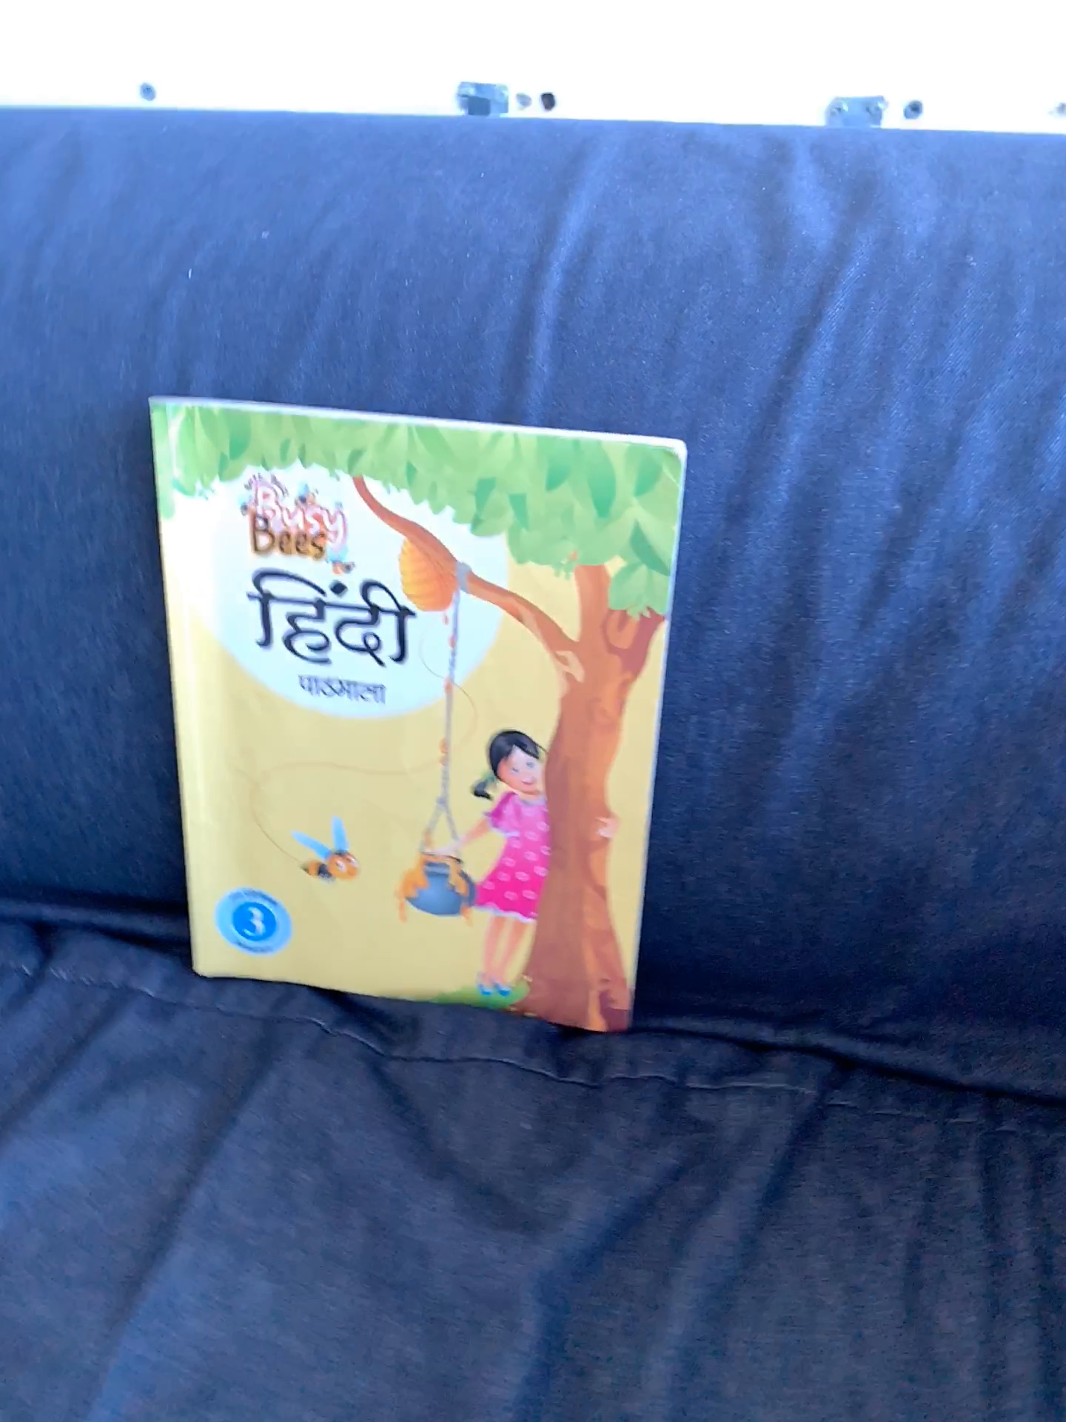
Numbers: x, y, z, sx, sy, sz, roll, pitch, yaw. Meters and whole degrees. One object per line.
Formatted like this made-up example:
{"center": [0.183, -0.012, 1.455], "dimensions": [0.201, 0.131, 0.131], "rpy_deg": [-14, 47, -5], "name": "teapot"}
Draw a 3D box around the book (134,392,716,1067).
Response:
{"center": [-0.051, 0.015, 0.485], "dimensions": [0.230, 0.283, 0.029], "rpy_deg": [7, 23, 10], "name": "book"}
